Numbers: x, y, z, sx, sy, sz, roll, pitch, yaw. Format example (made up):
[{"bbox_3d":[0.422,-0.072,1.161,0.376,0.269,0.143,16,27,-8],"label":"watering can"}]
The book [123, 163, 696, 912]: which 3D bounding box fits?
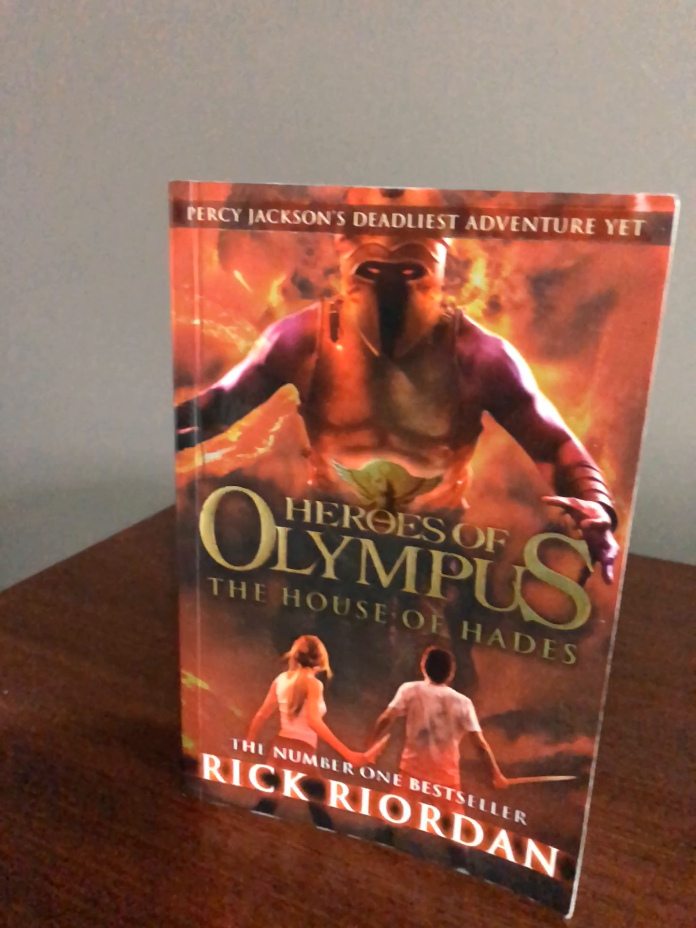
[{"bbox_3d":[0.012,0.017,0.241,0.140,0.199,0.060,7,17,15],"label":"book"}]
